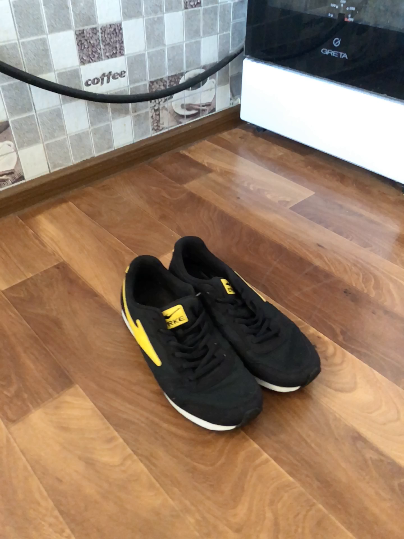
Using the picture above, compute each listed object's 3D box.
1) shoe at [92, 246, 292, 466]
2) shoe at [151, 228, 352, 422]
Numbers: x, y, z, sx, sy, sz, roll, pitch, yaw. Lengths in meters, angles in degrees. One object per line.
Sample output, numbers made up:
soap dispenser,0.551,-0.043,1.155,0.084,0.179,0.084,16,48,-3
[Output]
shoe,-0.028,0.095,0.602,0.110,0.079,0.301,-25,47,-26
shoe,0.055,0.062,0.649,0.110,0.079,0.301,-26,47,-27
